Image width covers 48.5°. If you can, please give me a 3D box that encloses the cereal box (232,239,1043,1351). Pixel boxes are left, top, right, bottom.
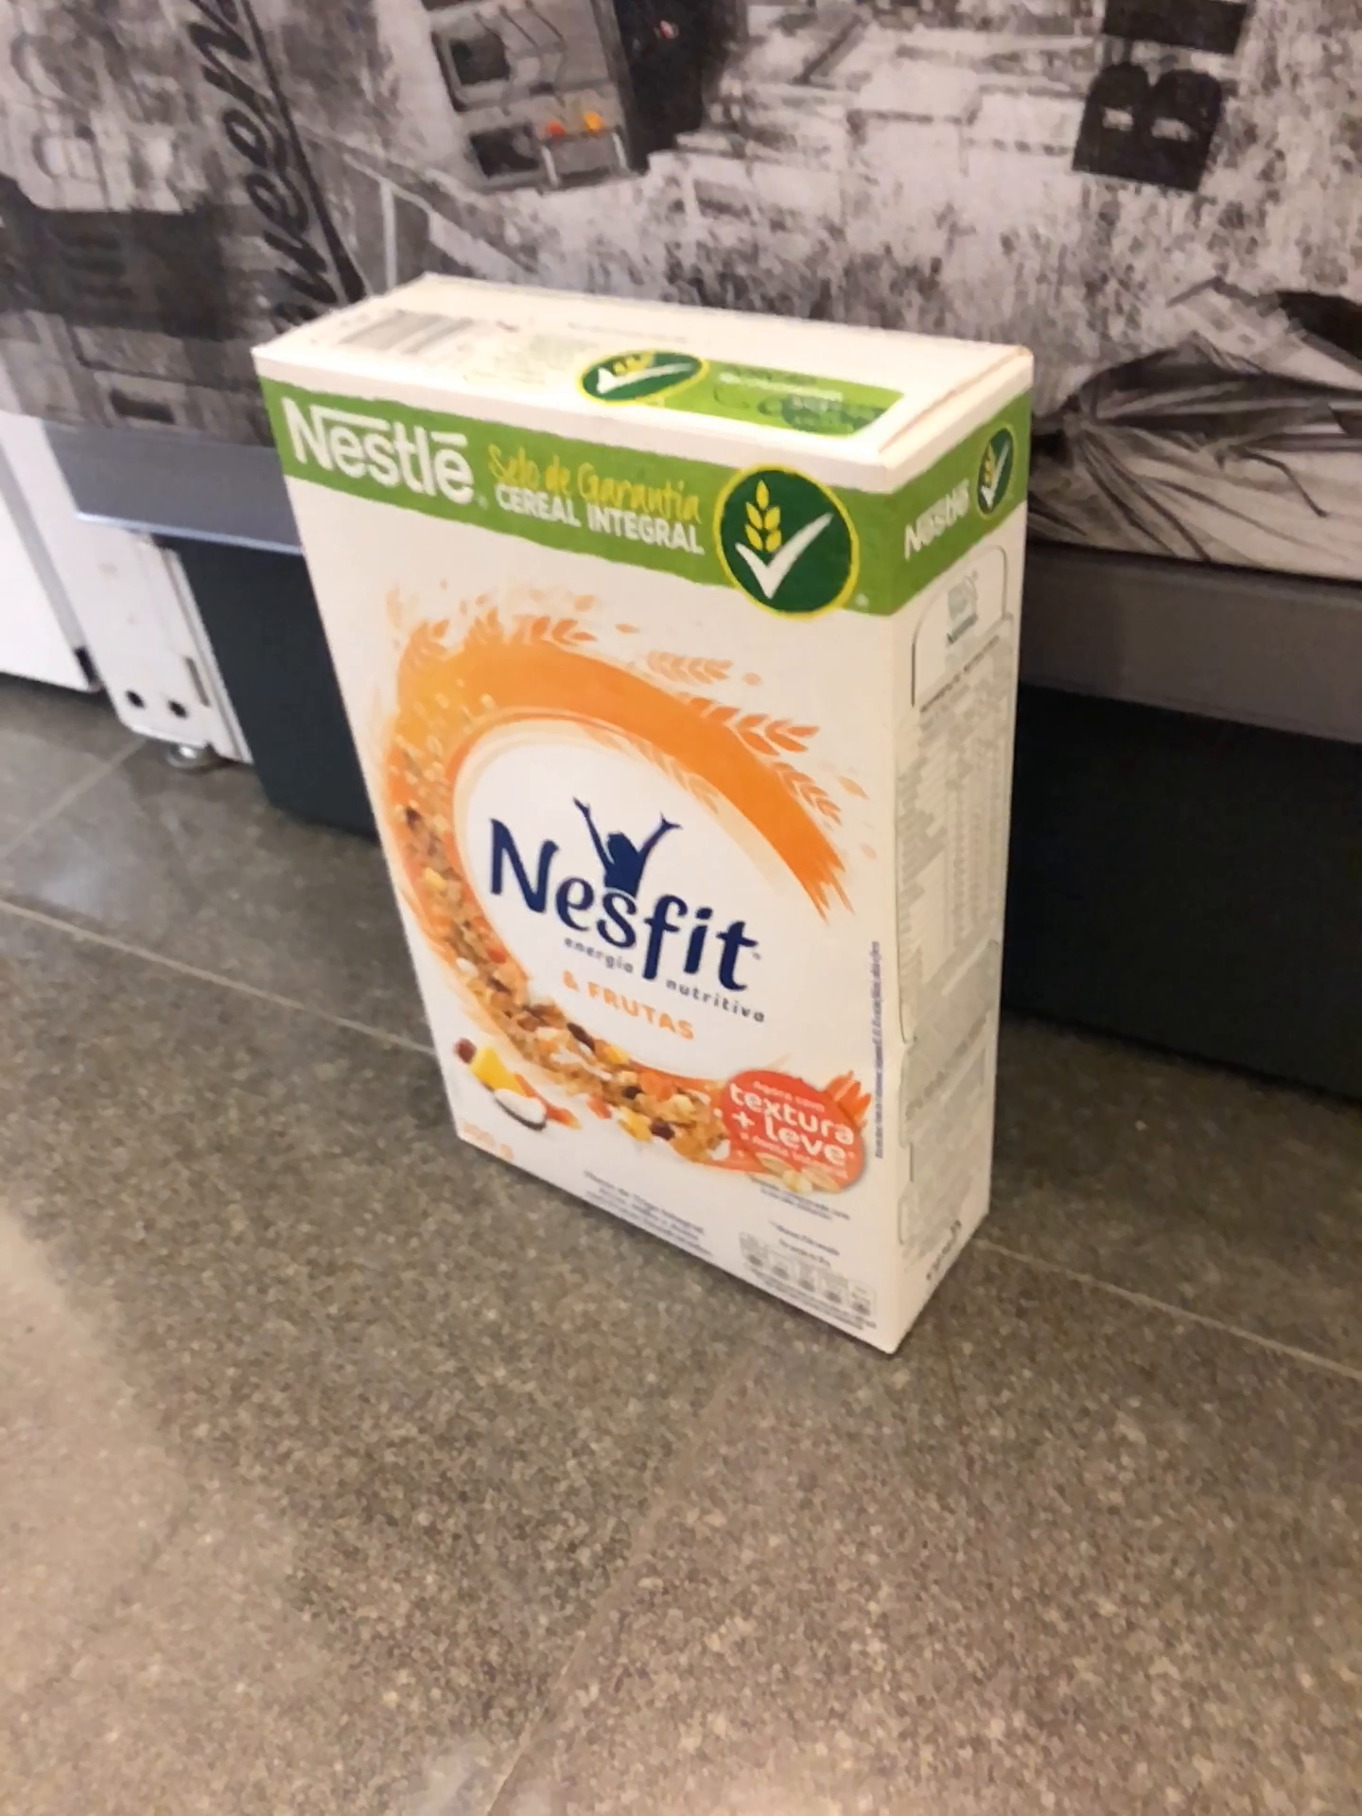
[{"bbox_3d":[0.001,-0.021,0.378,0.150,0.248,0.070,19,46,30],"label":"cereal box"}]
